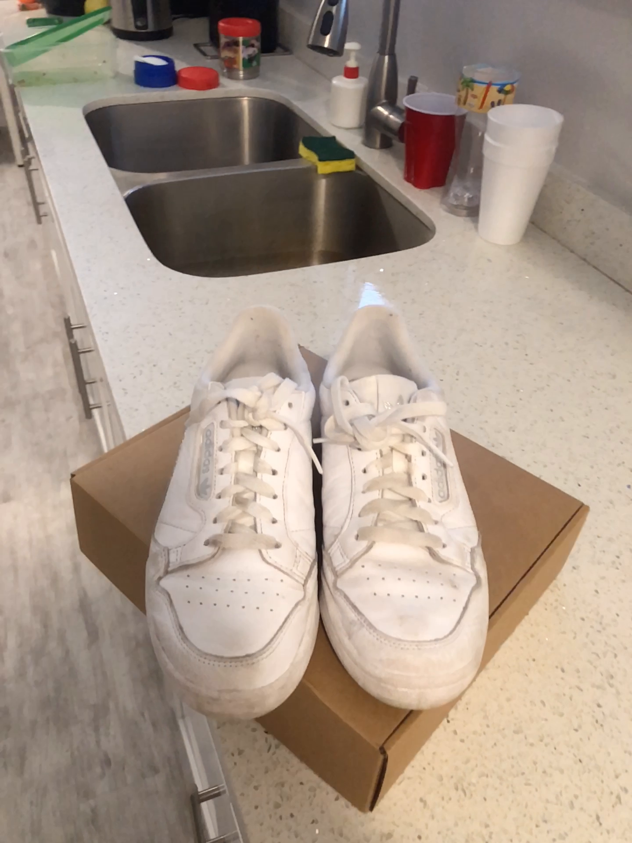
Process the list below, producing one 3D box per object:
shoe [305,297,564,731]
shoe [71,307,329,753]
[{"bbox_3d":[0.049,0.036,0.433,0.107,0.100,0.269,1,40,-2],"label":"shoe"},{"bbox_3d":[-0.053,0.044,0.426,0.107,0.100,0.269,1,40,-2],"label":"shoe"}]
